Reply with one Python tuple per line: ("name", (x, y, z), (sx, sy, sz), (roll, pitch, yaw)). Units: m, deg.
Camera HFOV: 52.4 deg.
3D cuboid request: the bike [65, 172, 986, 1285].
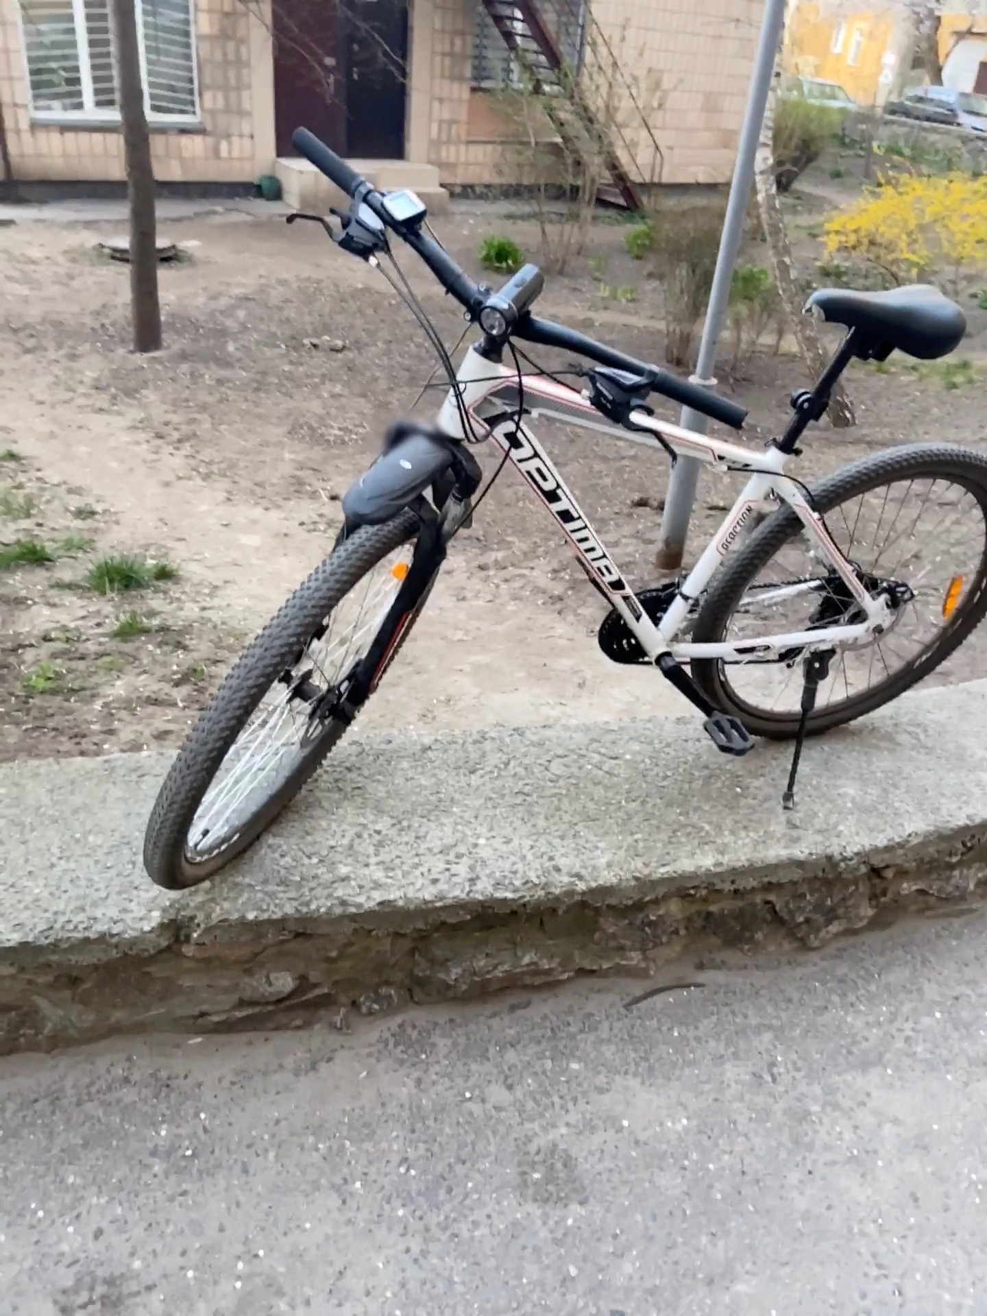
("bike", (0.342, -0.068, 1.614), (1.755, 1.143, 0.681), (-14, 37, -25))
